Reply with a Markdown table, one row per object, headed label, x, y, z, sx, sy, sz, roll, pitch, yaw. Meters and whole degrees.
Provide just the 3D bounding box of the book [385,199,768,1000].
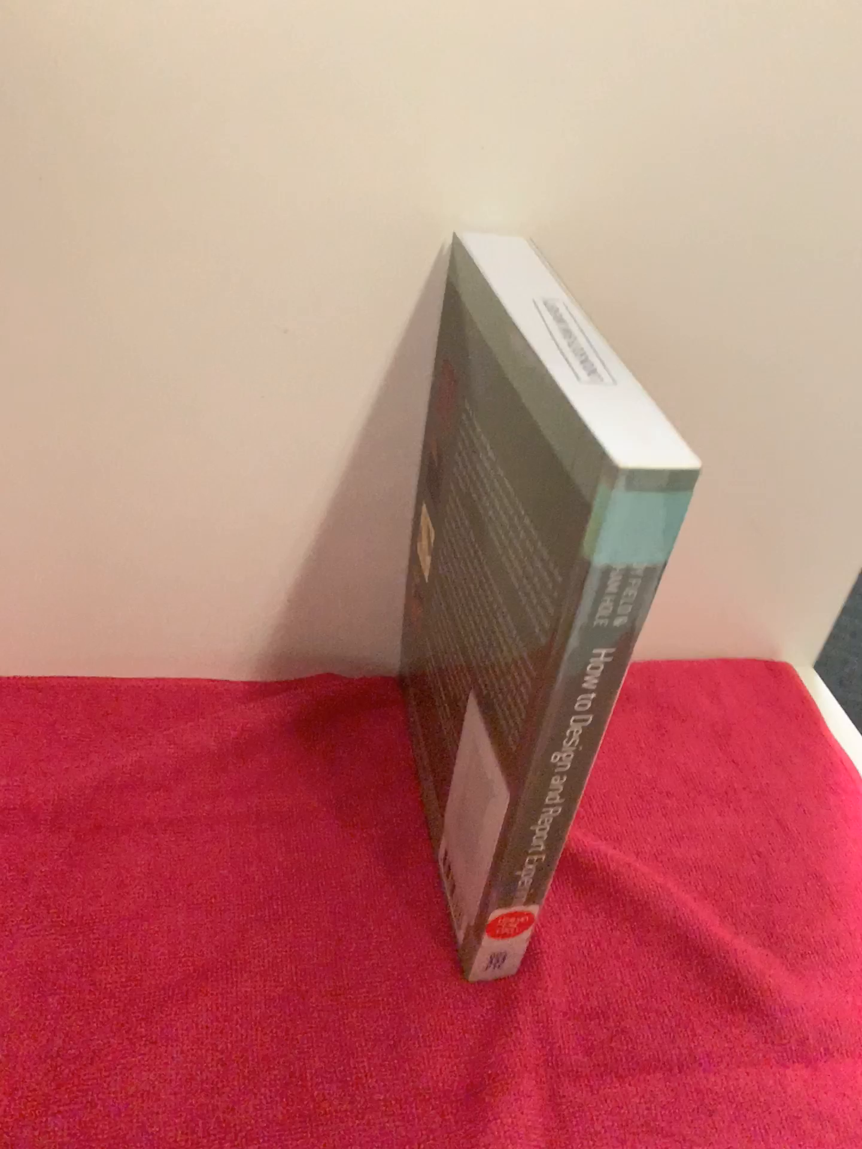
| label | x | y | z | sx | sy | sz | roll | pitch | yaw |
| --- | --- | --- | --- | --- | --- | --- | --- | --- | --- |
| book | 0.027 | 0.009 | 0.353 | 0.040 | 0.247 | 0.192 | 0 | 37 | -13 |
